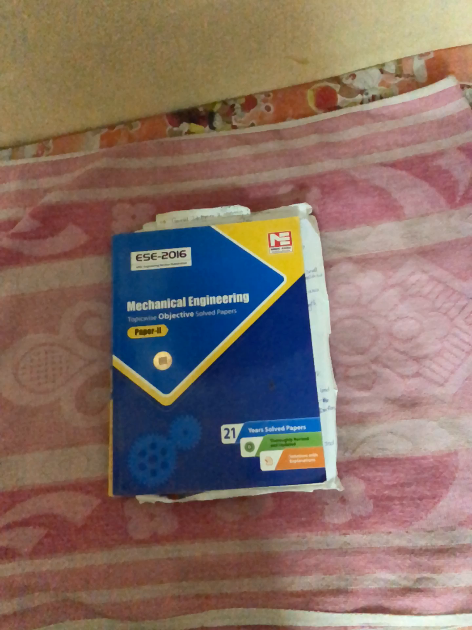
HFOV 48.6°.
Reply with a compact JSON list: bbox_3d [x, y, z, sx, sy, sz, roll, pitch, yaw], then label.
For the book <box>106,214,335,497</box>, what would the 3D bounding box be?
[{"bbox_3d":[-0.022,0.040,0.549,0.215,0.055,0.270,-5,75,4],"label":"book"}]
